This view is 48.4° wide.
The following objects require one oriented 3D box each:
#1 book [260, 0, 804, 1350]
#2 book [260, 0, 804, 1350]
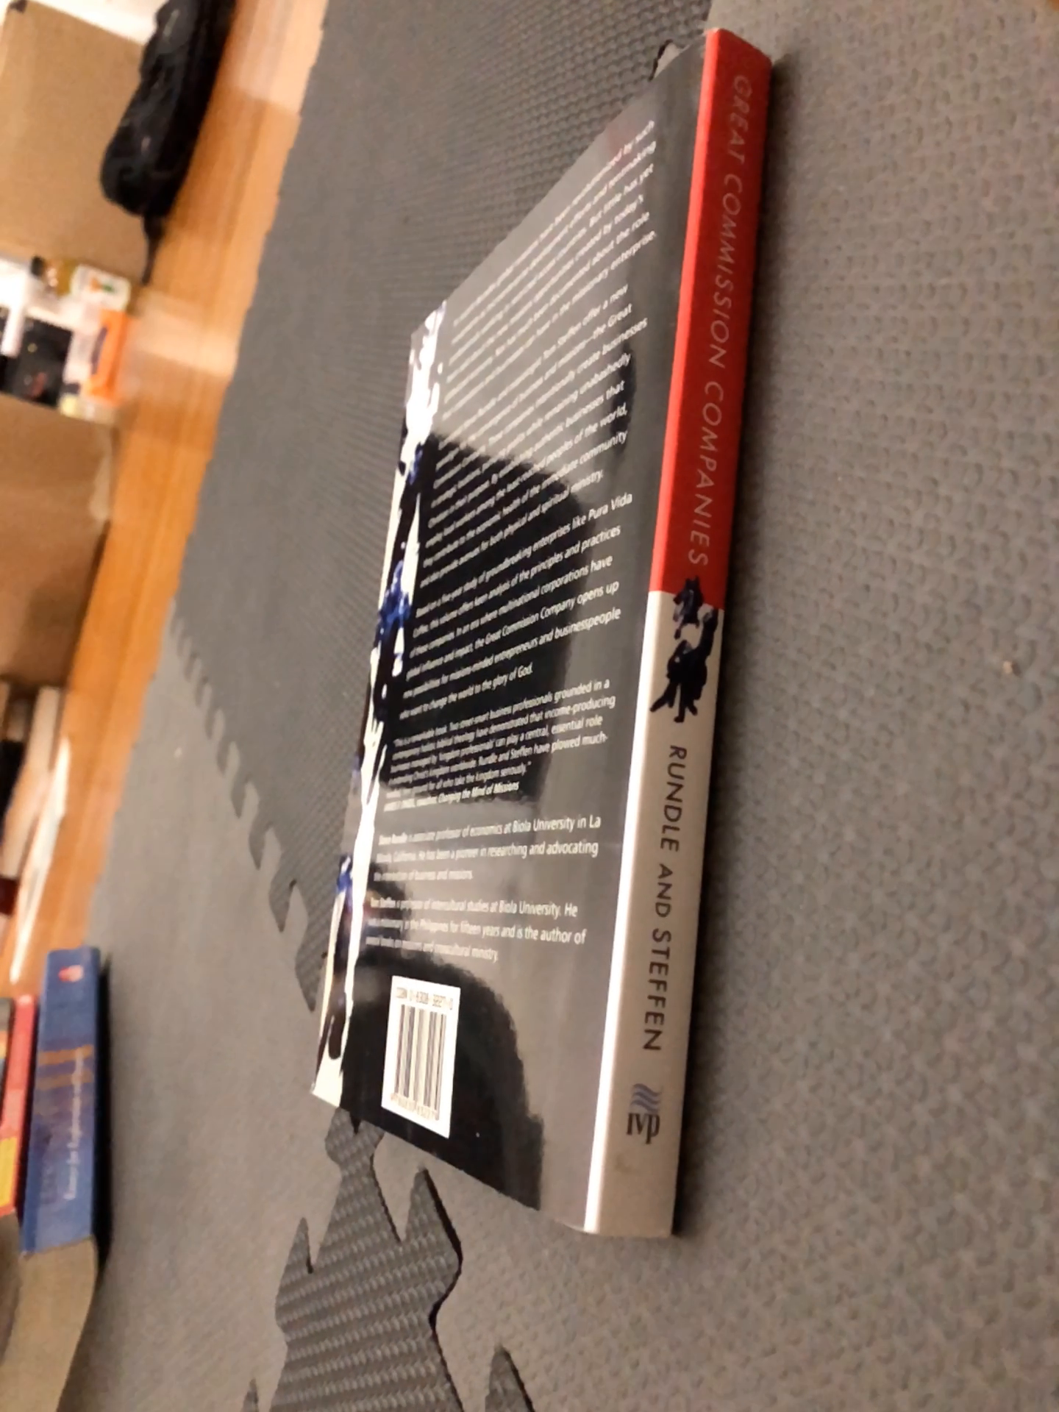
[{"bbox_3d":[-0.008,-0.015,0.250,0.151,0.020,0.230,-18,61,62],"label":"book"},{"bbox_3d":[-0.008,-0.015,0.250,0.151,0.020,0.230,-18,61,62],"label":"book"}]
